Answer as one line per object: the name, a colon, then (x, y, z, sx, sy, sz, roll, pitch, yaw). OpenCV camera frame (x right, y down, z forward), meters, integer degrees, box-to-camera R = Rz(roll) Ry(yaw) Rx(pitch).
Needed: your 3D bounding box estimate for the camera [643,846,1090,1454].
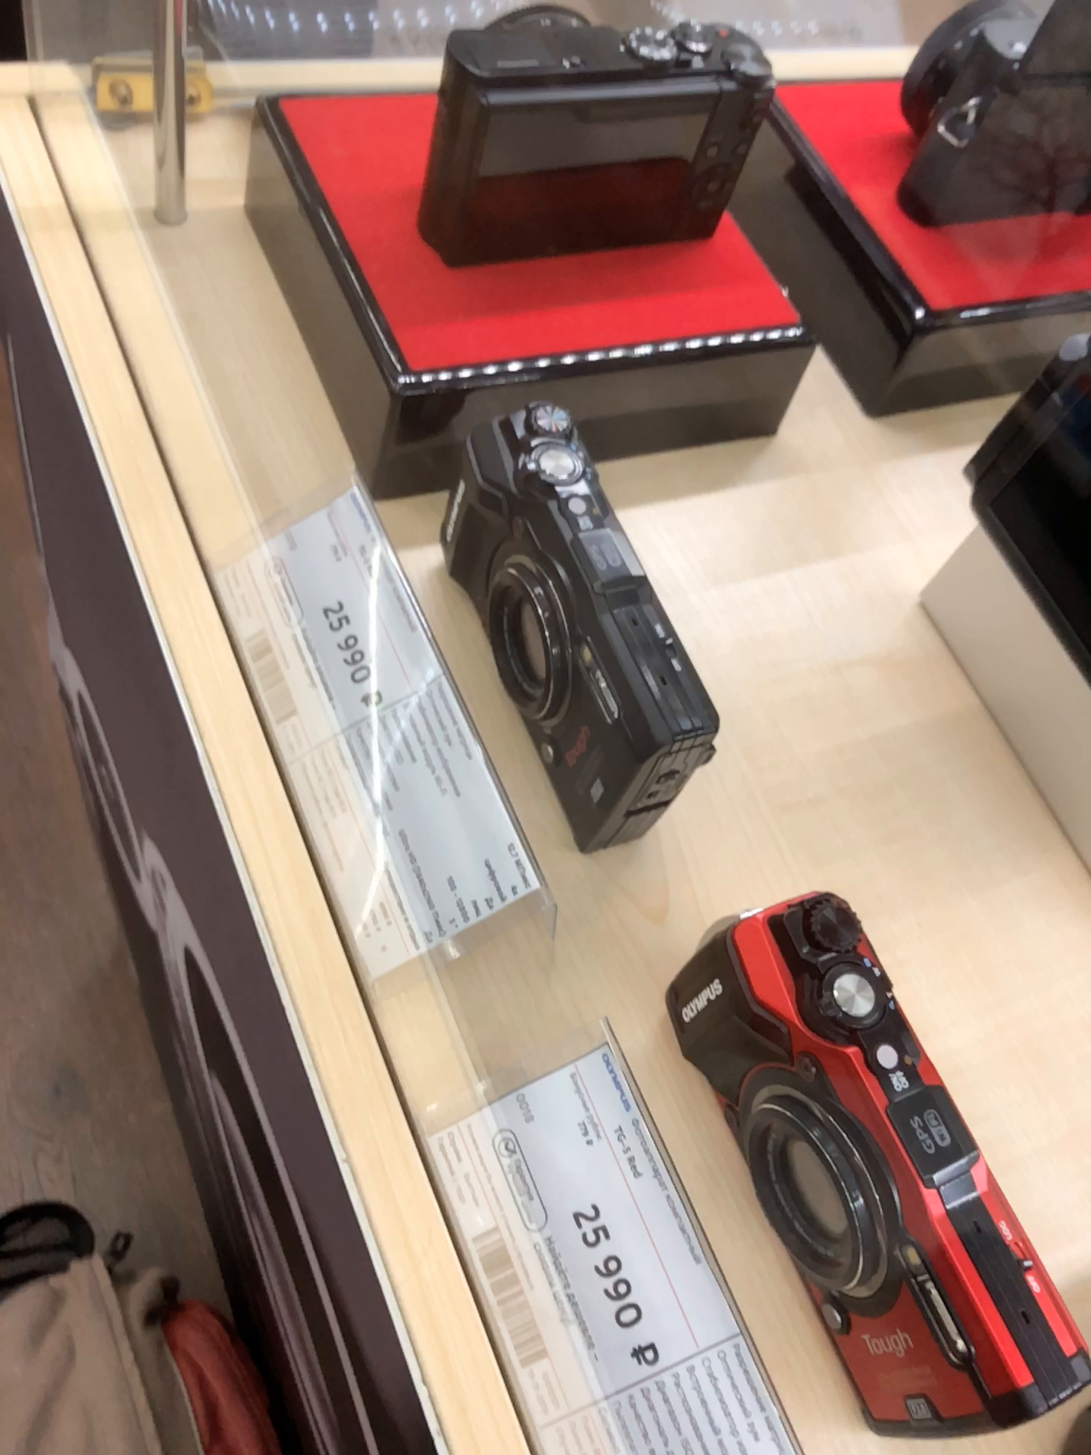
camera: (0.067, 0.094, 0.272, 0.030, 0.060, 0.117, -13, 64, -23)

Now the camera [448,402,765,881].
camera: (0.011, -0.025, 0.339, 0.030, 0.060, 0.117, -13, 64, -23)
